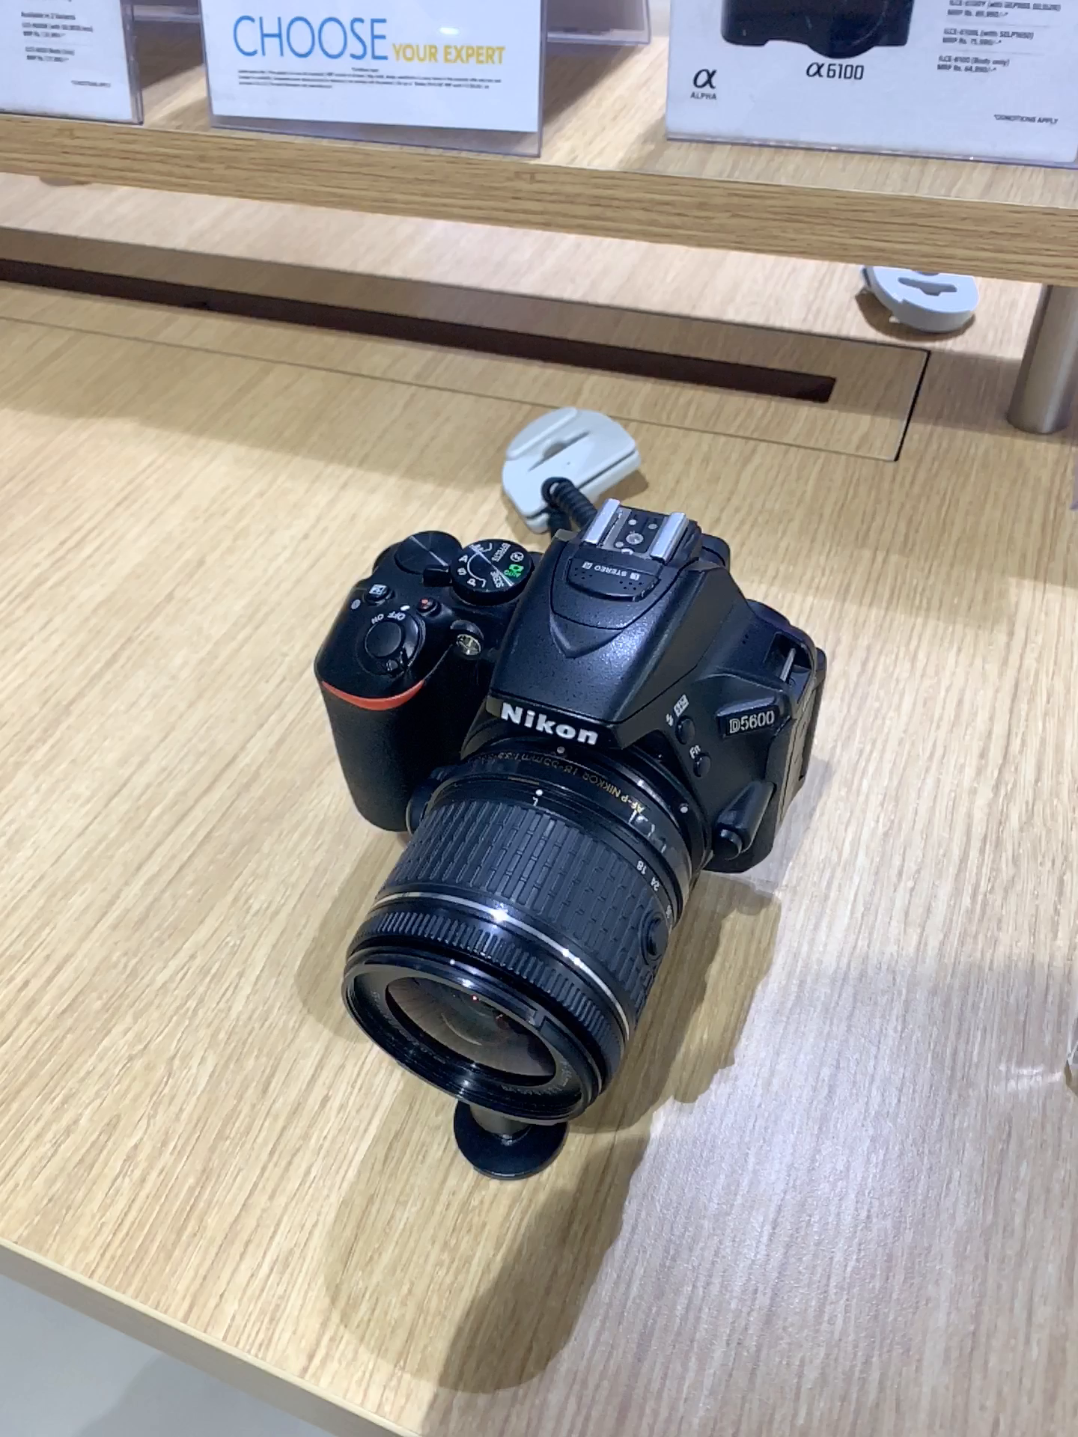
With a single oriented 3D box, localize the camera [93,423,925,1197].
[{"bbox_3d":[0.002,0.011,0.242,0.124,0.080,0.114,16,49,18],"label":"camera"}]
